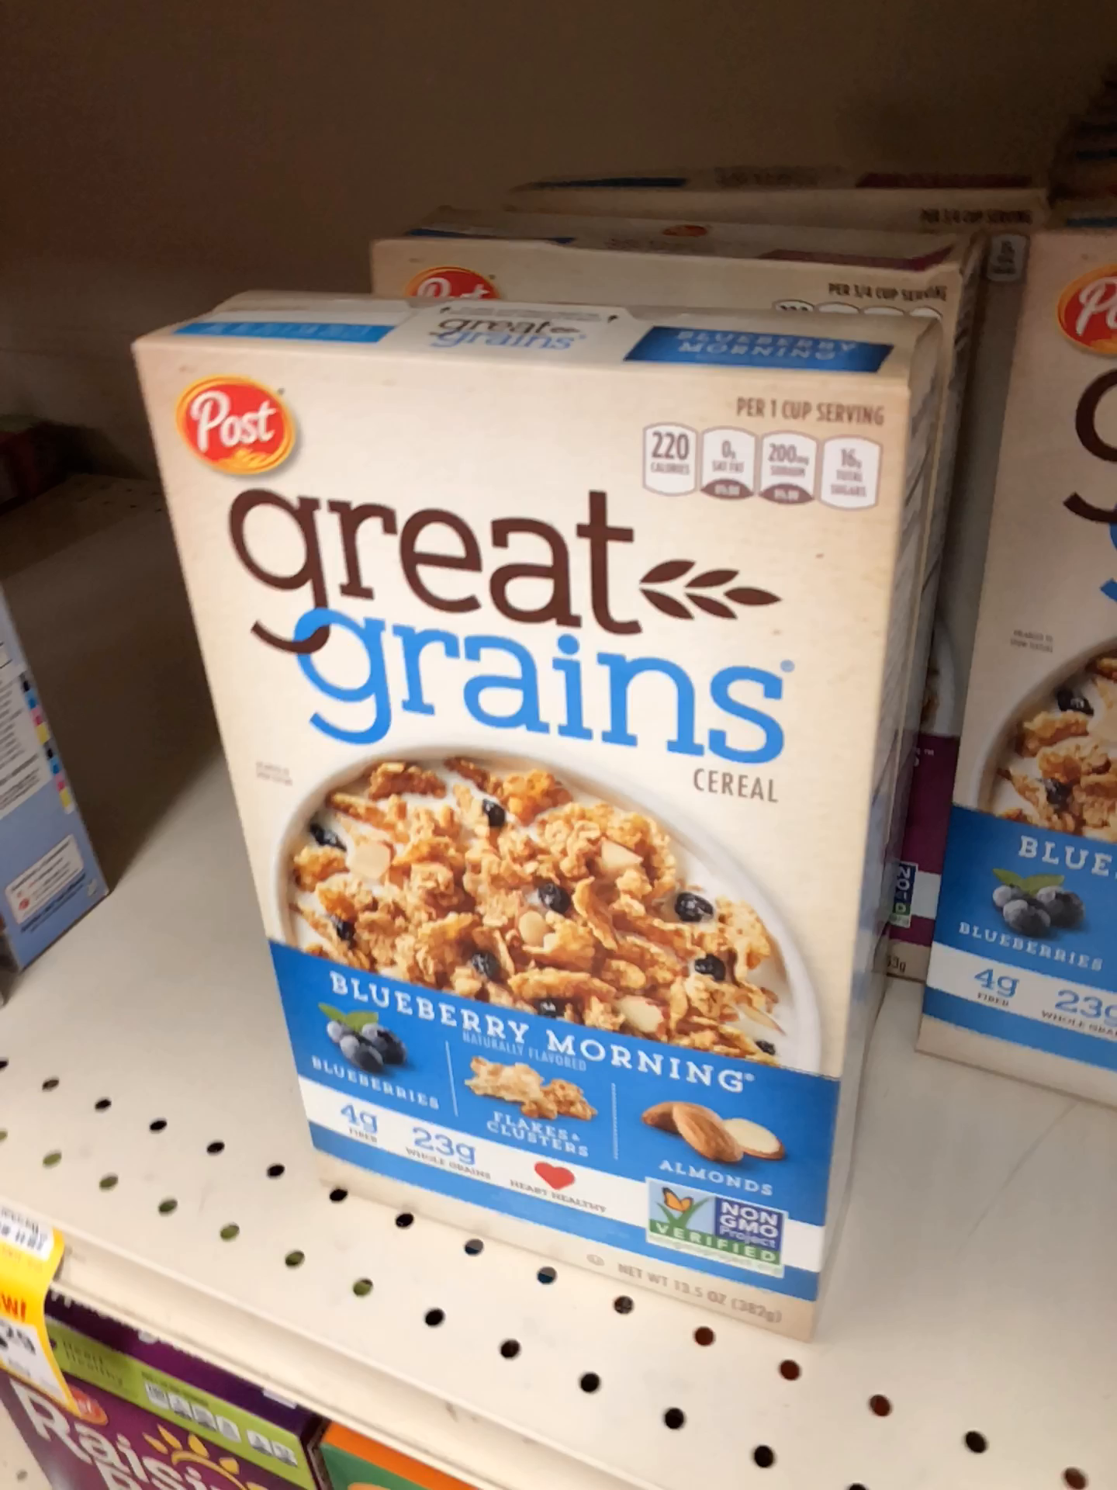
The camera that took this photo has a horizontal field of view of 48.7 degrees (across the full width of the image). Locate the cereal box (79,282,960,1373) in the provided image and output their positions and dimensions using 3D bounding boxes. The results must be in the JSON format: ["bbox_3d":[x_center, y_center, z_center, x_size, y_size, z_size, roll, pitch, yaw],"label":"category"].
[{"bbox_3d":[-0.004,0.029,0.335,0.180,0.279,0.060,10,33,21],"label":"cereal box"}]
